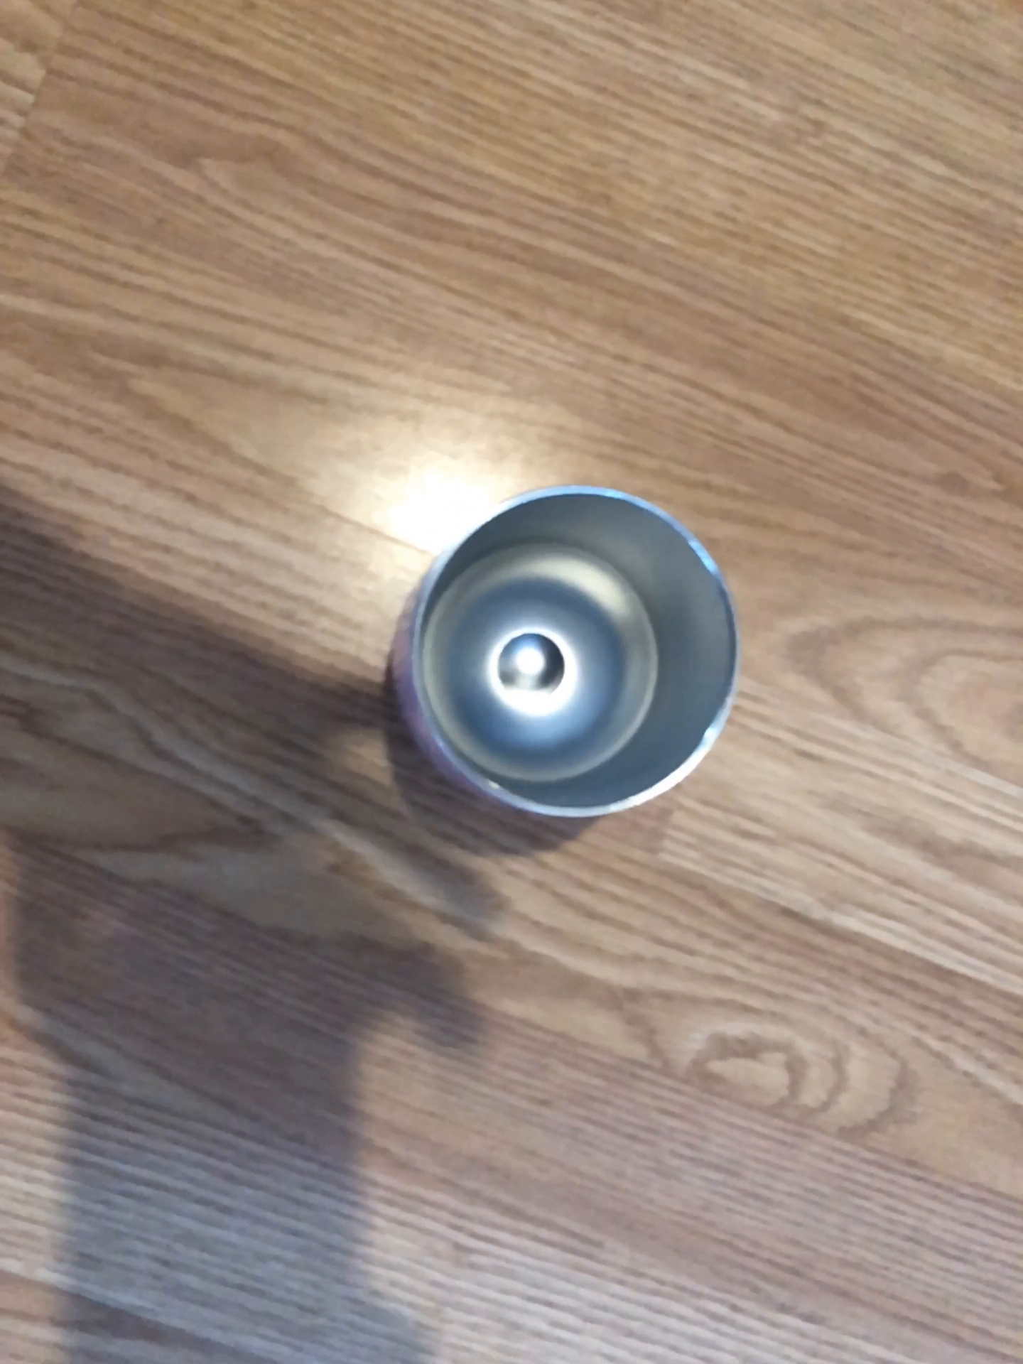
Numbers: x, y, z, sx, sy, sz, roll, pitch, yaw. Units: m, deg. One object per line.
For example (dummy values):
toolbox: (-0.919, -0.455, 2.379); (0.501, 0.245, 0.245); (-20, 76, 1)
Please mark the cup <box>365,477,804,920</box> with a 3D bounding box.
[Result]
cup: (0.013, 0.004, 0.325); (0.090, 0.100, 0.090); (0, 89, -6)
